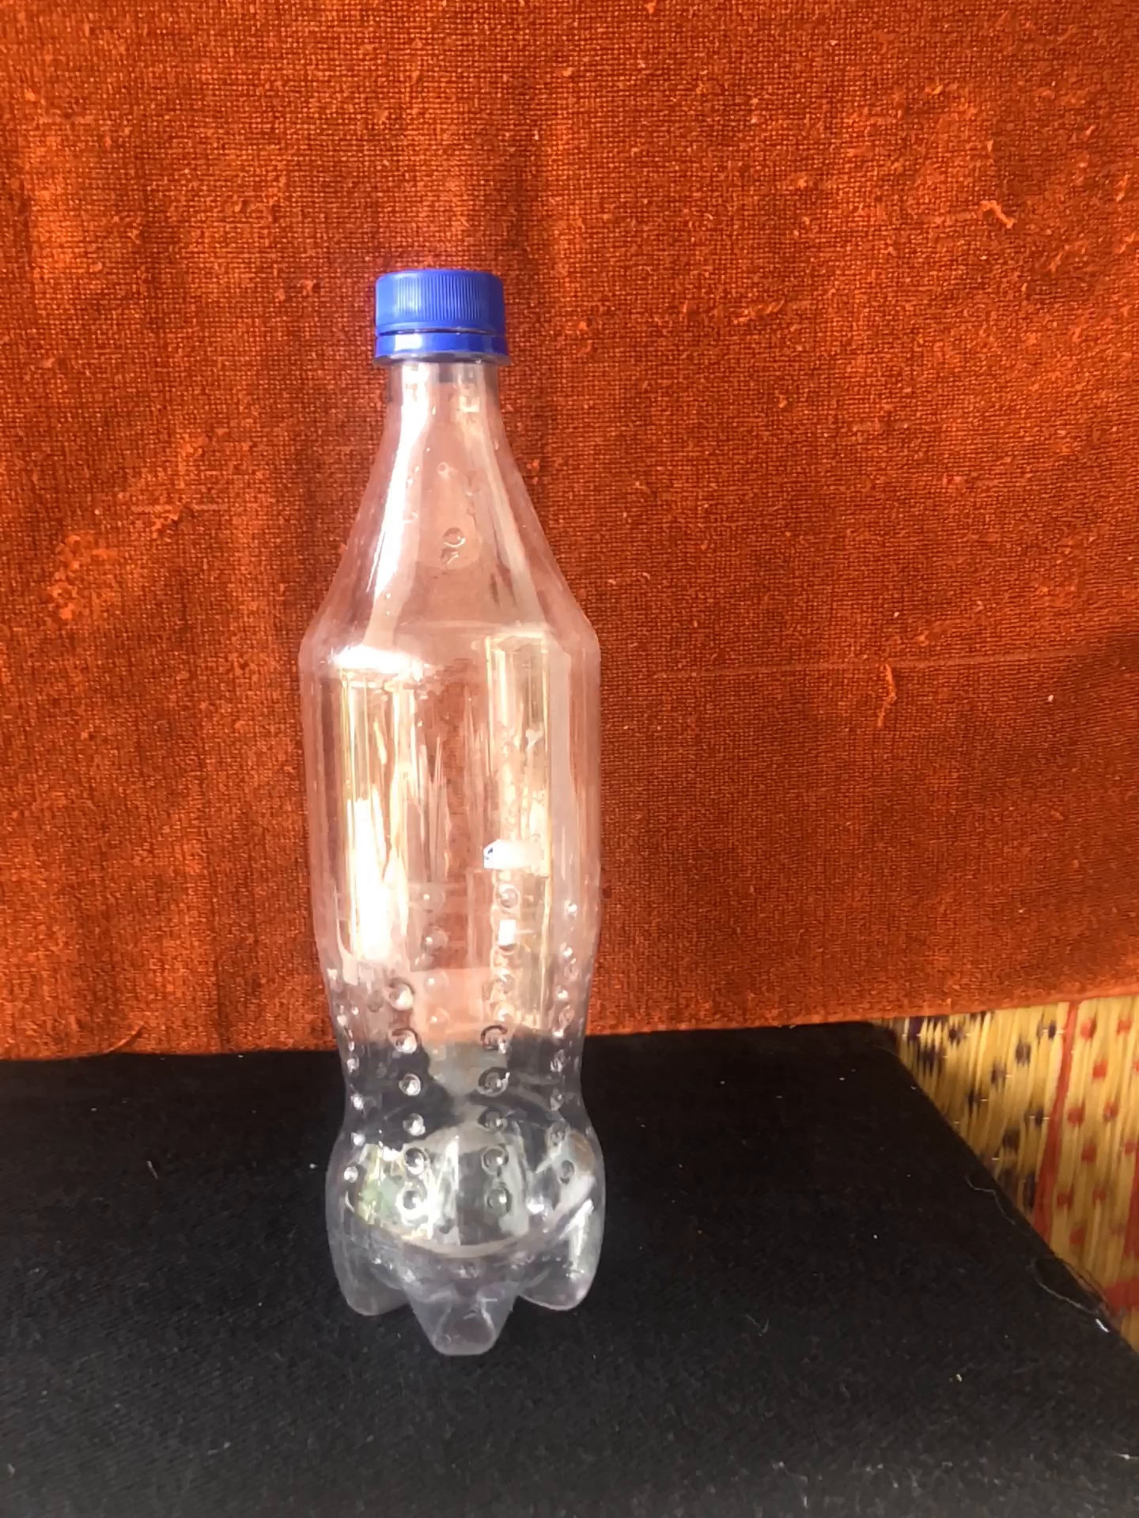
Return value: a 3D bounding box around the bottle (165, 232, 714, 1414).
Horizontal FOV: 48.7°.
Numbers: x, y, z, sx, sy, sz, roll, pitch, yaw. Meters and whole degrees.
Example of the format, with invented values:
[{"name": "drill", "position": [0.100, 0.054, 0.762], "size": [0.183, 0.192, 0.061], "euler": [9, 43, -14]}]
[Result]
[{"name": "bottle", "position": [-0.025, 0.013, 0.308], "size": [0.090, 0.249, 0.080], "euler": [8, 17, 28]}]
